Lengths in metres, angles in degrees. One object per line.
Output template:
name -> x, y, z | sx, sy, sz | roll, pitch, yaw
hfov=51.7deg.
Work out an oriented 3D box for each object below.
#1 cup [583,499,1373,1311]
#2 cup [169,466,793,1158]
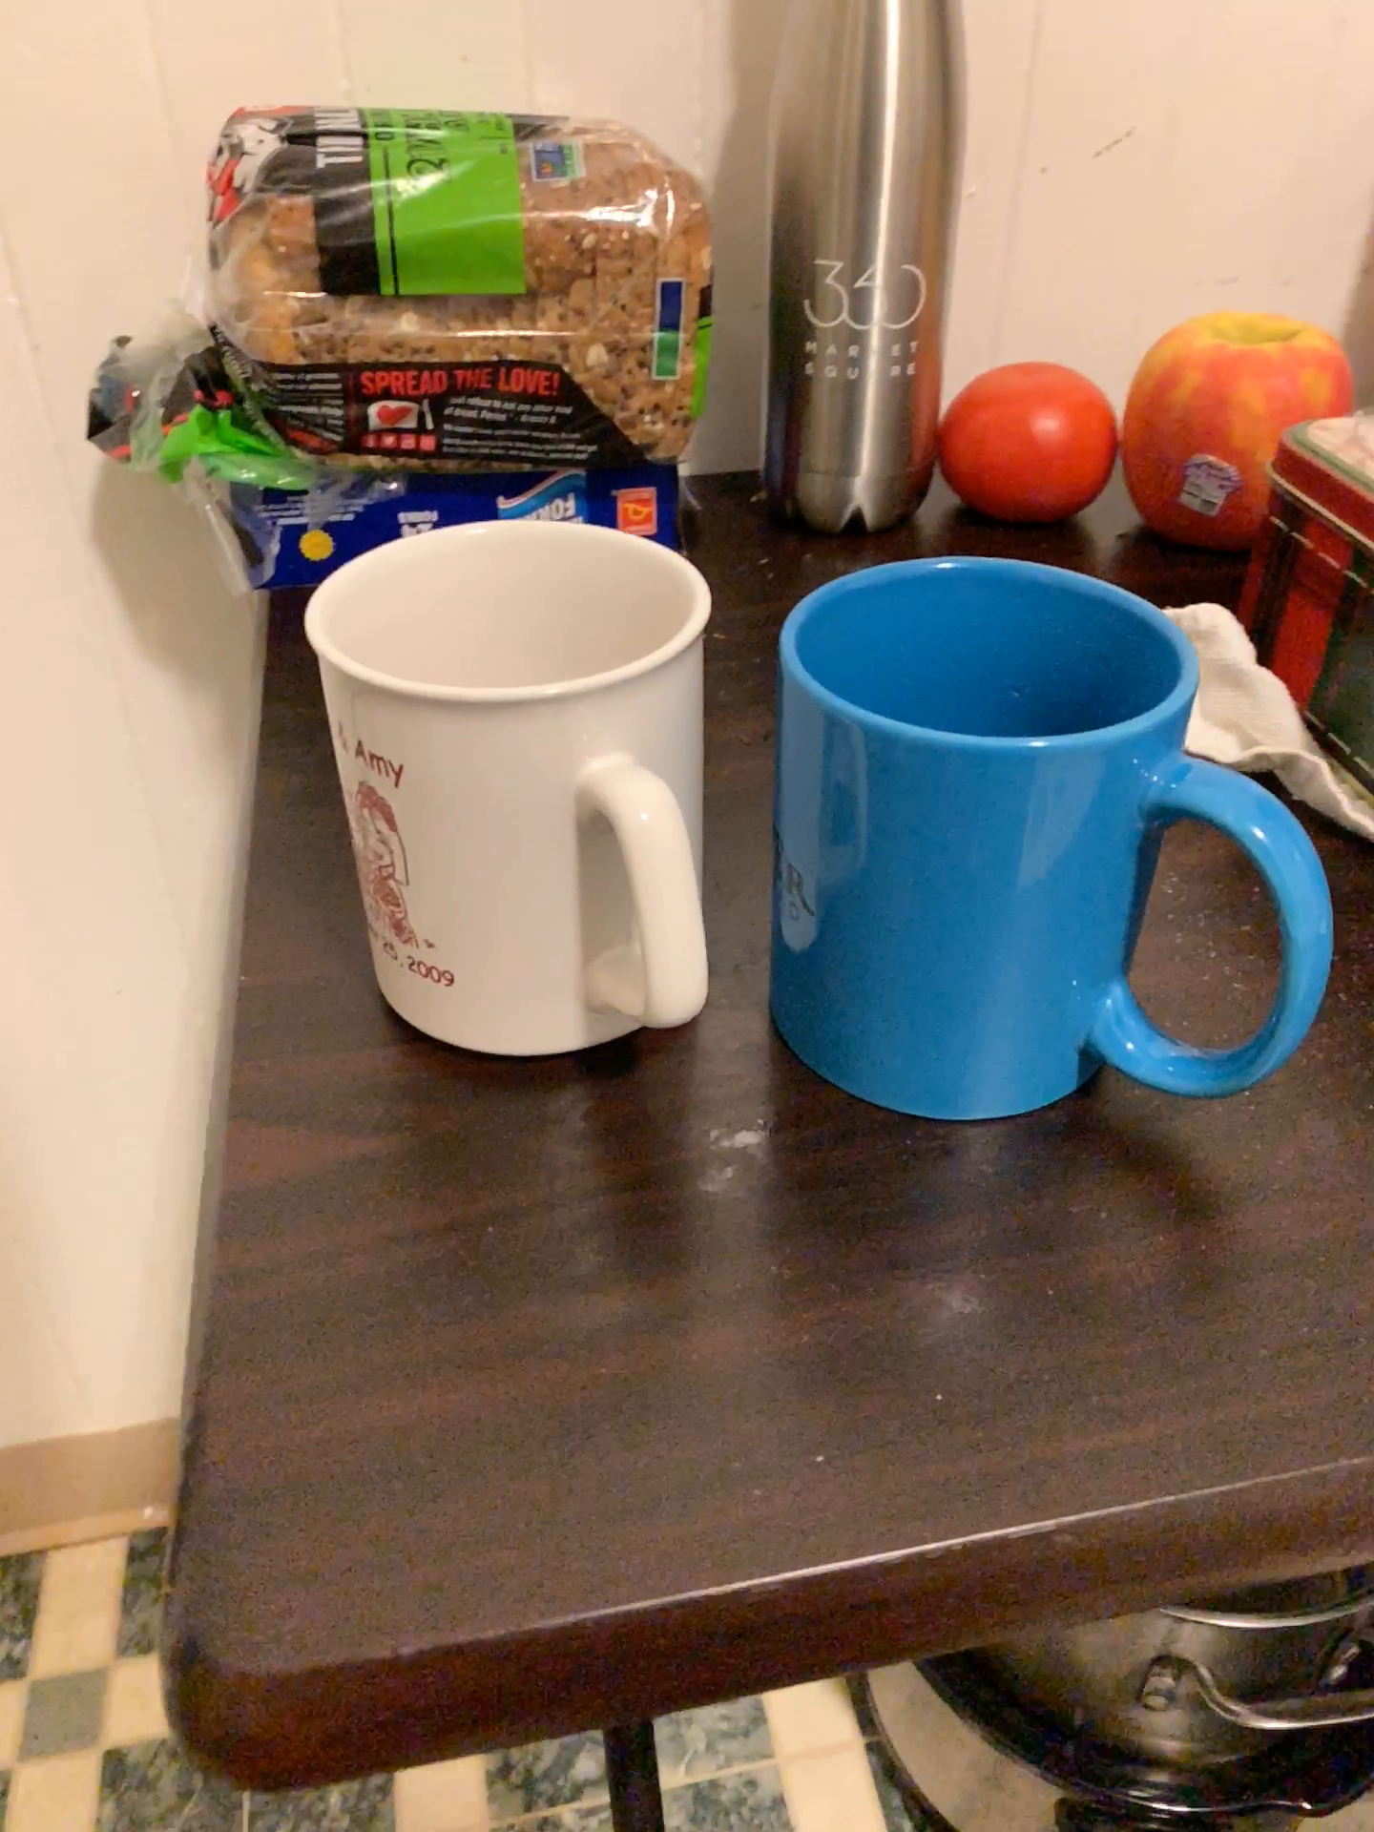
cup -> 0.059, -0.013, 0.311 | 0.090, 0.099, 0.141 | -30, 46, -33
cup -> -0.048, -0.031, 0.322 | 0.090, 0.089, 0.121 | -19, 41, -23
